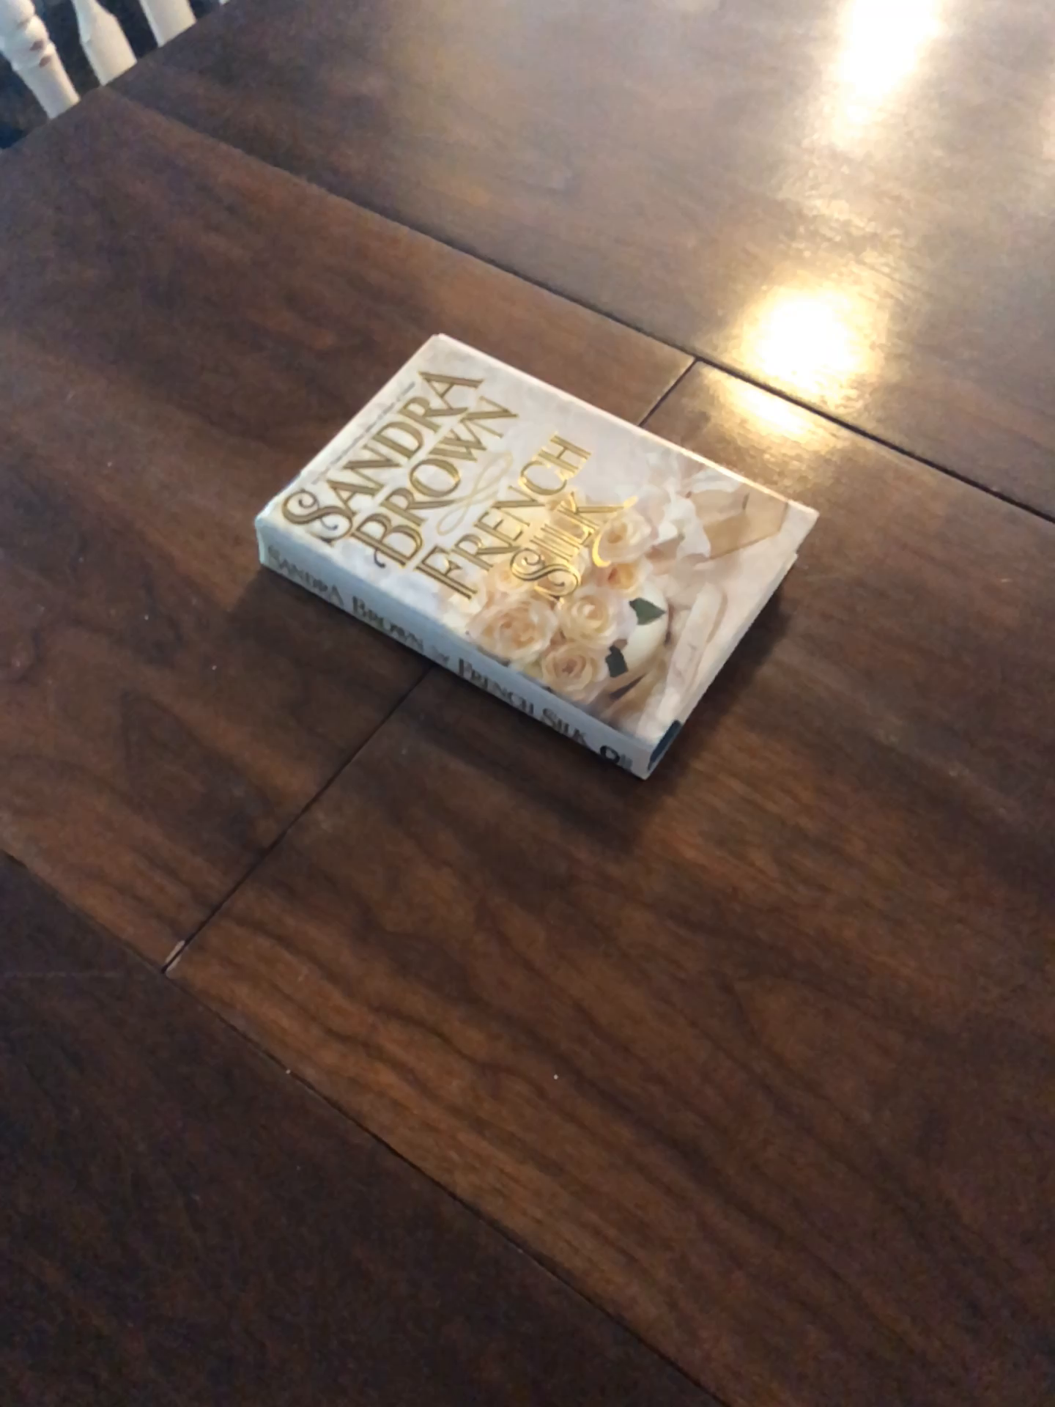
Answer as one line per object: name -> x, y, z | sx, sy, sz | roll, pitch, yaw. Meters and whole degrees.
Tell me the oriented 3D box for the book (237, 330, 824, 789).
book -> 0.002, -0.083, 0.589 | 0.240, 0.033, 0.161 | 29, 64, 17
